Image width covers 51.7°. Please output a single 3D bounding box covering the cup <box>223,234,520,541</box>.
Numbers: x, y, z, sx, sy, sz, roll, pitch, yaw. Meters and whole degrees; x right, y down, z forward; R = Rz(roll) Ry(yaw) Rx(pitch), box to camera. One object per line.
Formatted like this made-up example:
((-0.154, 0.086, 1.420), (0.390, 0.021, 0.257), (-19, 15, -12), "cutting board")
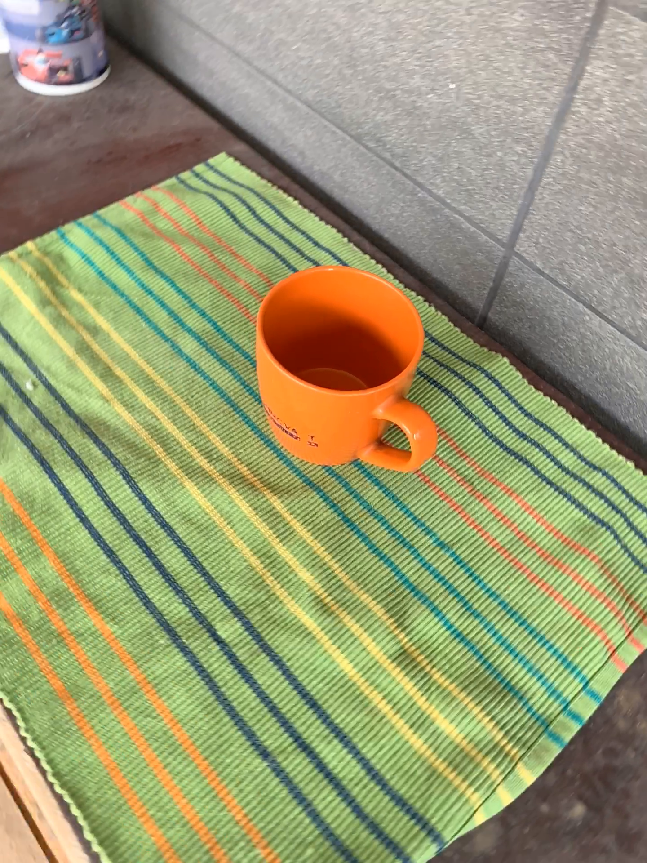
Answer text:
((0.020, -0.026, 0.363), (0.090, 0.080, 0.120), (-35, 65, -26), "cup")
